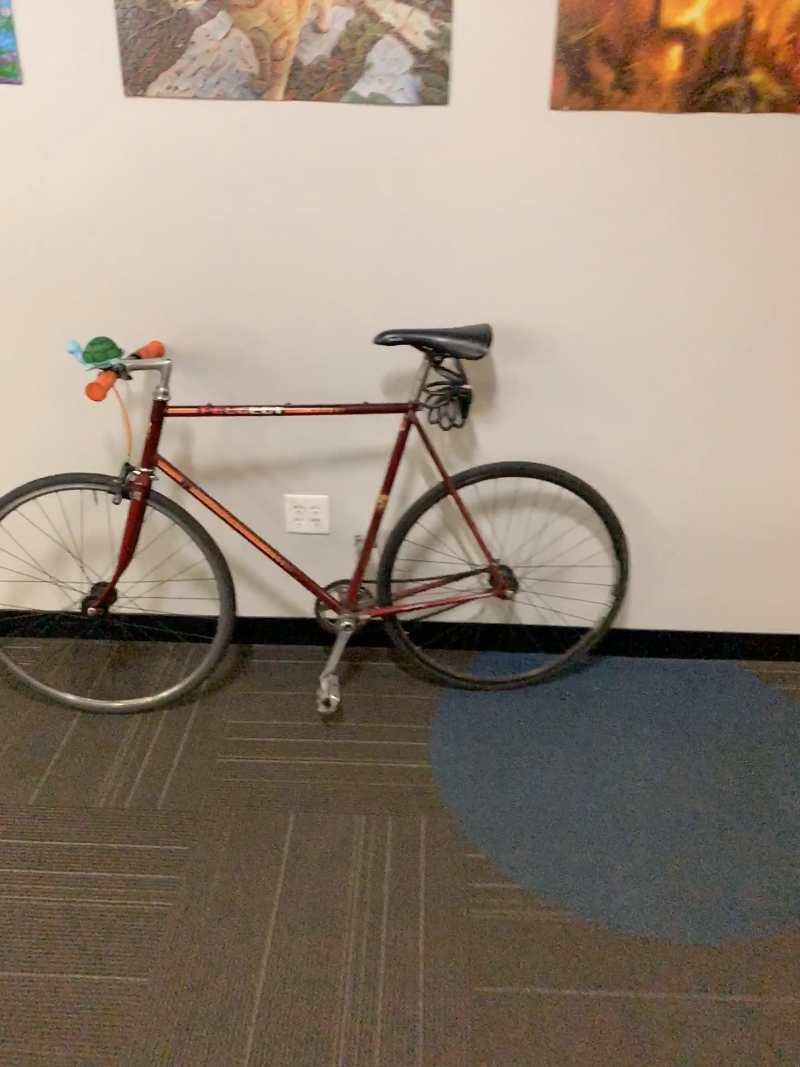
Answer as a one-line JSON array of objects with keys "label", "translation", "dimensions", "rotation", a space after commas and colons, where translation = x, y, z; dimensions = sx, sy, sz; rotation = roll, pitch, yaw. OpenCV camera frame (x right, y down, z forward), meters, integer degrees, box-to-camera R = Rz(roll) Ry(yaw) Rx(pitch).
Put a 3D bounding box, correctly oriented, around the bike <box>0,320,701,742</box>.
[{"label": "bike", "translation": [-0.224, -0.016, 2.040], "dimensions": [1.625, 0.909, 0.451], "rotation": [-1, 28, -5]}]
